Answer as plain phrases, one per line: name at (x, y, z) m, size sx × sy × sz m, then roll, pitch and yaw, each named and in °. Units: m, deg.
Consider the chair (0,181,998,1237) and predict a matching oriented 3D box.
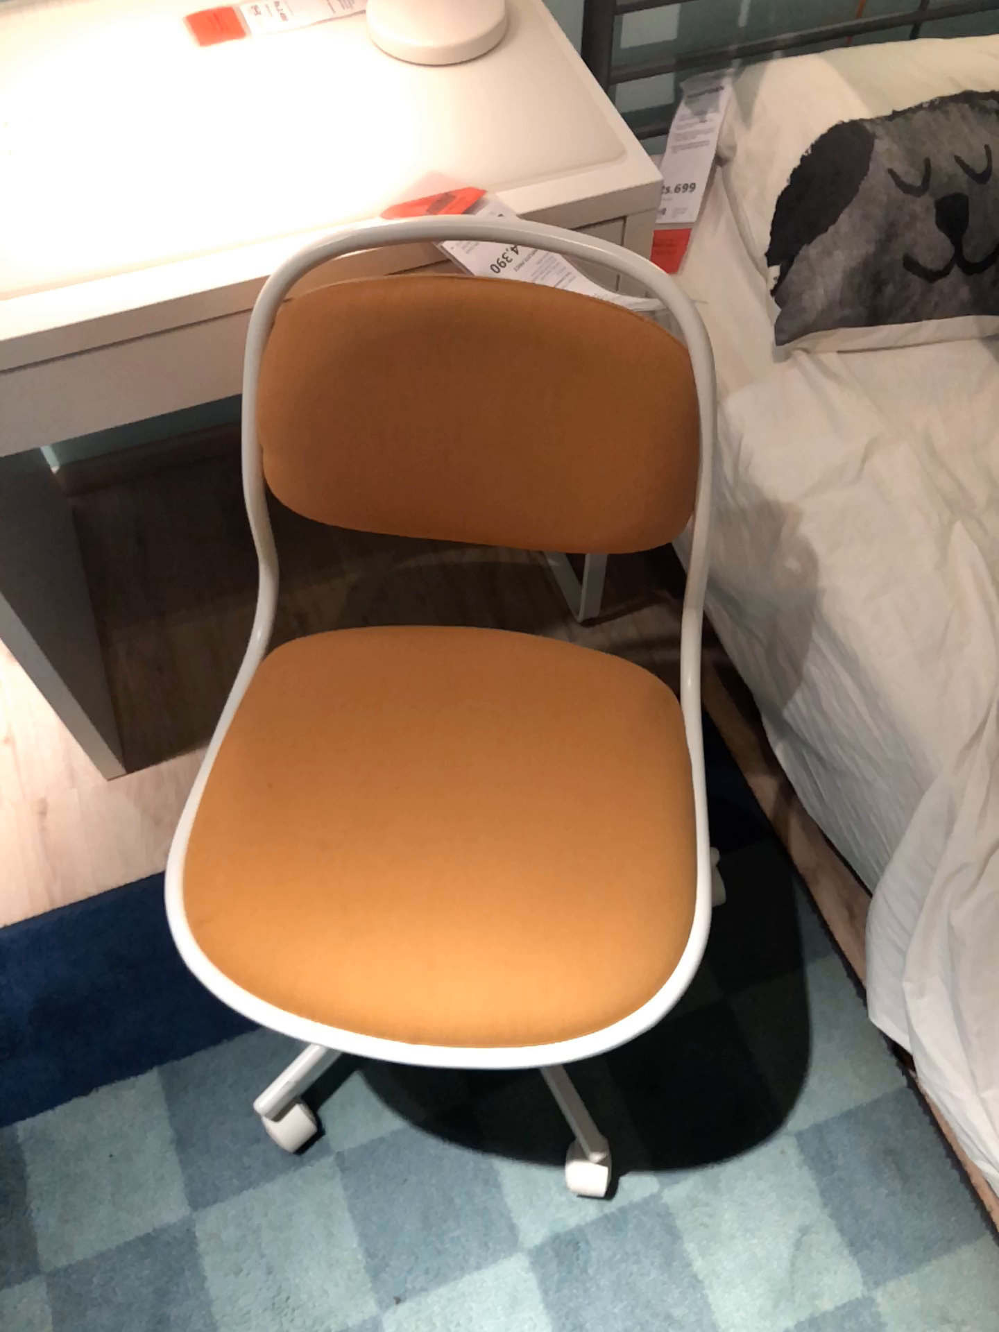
chair at (-0.026, 0.126, 0.966) m, size 0.610 × 0.796 × 0.562 m, roll 5°, pitch 60°, yaw 3°
